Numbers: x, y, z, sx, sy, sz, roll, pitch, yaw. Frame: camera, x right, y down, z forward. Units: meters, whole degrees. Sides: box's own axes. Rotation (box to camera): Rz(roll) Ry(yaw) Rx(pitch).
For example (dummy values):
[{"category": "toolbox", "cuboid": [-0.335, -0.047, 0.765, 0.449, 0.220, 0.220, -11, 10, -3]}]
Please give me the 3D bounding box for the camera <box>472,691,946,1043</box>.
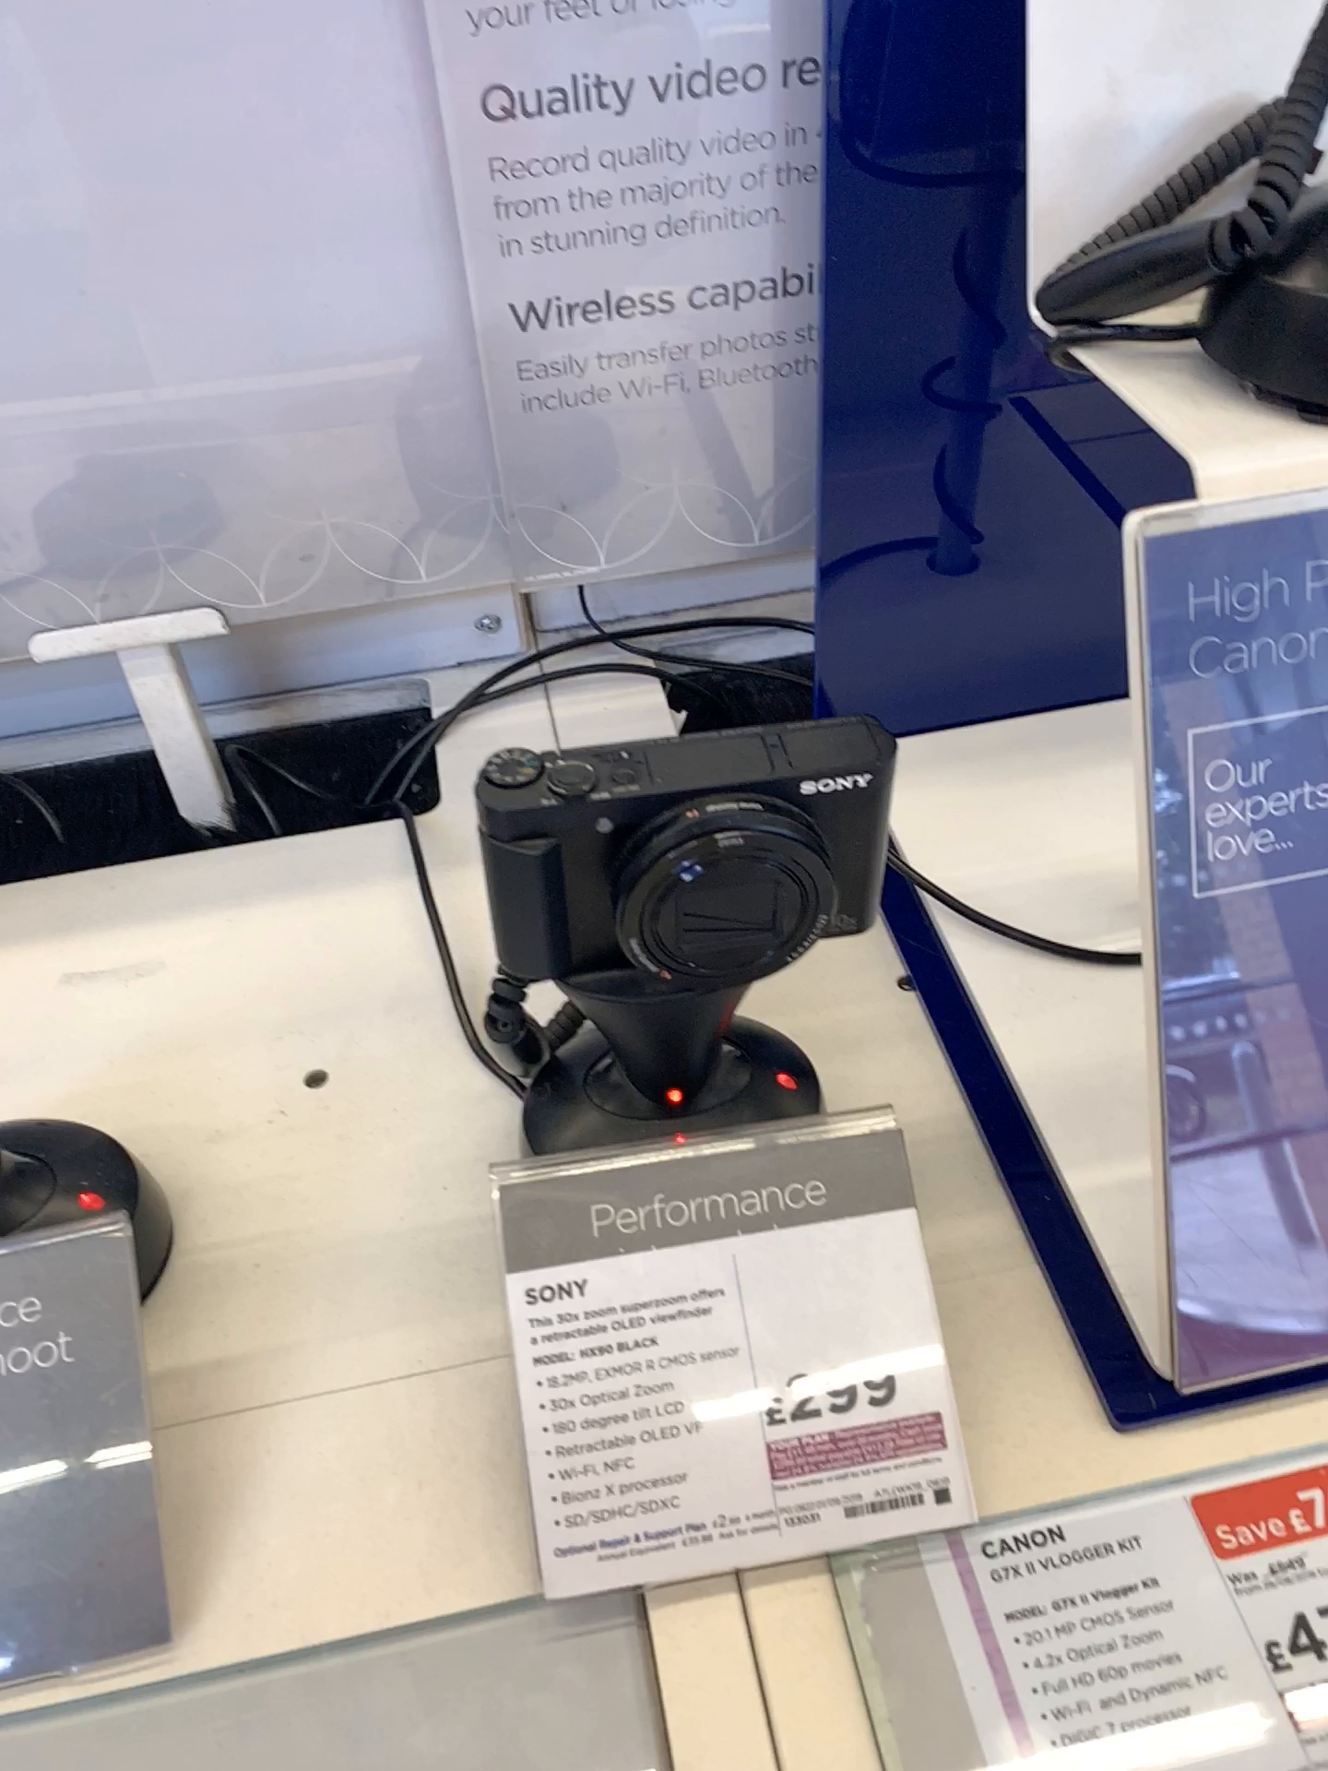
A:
[{"category": "camera", "cuboid": [0.009, -0.004, 0.324, 0.100, 0.059, 0.040, -8, 43, -6]}]
